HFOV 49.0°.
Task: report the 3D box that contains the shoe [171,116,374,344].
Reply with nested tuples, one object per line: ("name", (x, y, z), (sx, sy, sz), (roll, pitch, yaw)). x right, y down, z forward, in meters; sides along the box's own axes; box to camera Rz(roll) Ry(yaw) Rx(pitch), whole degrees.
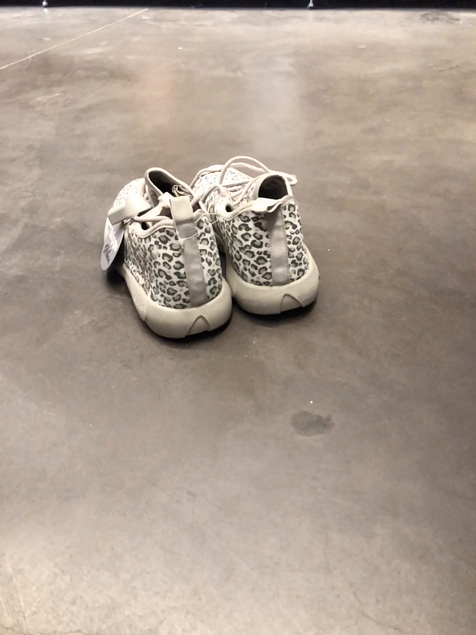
("shoe", (0.017, -0.101, 0.505), (0.100, 0.099, 0.251), (-13, 39, -13))

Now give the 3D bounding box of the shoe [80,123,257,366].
("shoe", (-0.073, -0.085, 0.484), (0.100, 0.099, 0.251), (-13, 39, -13))
